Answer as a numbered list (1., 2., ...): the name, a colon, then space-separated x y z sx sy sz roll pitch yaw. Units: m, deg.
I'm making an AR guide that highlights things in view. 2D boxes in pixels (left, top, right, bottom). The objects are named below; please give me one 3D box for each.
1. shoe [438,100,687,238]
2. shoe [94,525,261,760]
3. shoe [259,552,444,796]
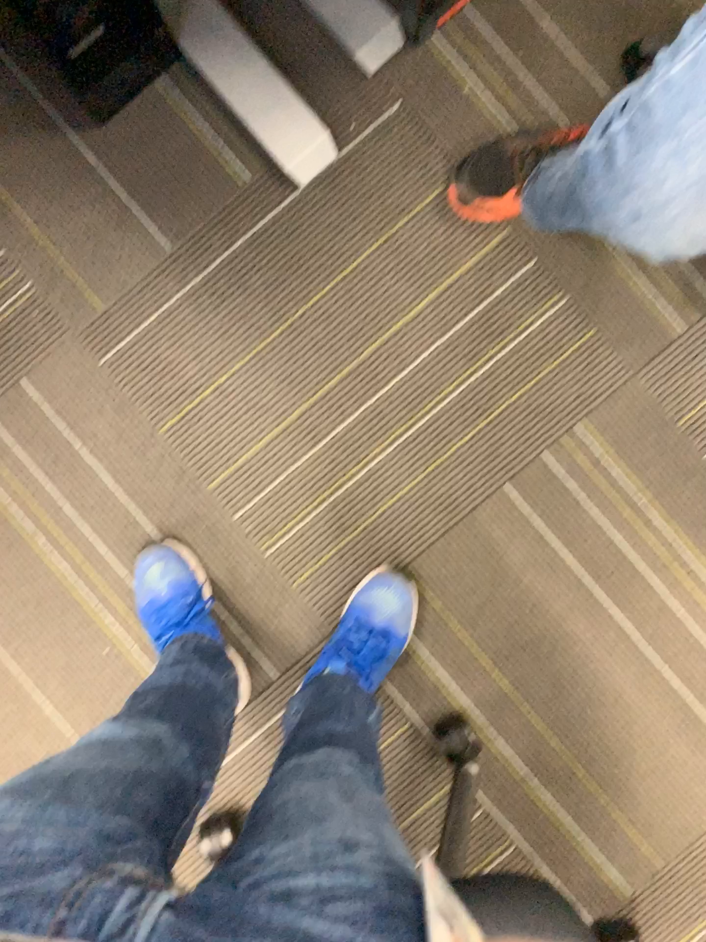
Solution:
1. shoe: 0.278 -0.405 0.975 0.304 0.088 0.117 -8 113 5
2. shoe: -0.258 0.257 1.088 0.141 0.088 0.311 -16 99 1
3. shoe: -0.002 0.306 1.091 0.119 0.088 0.339 30 100 1
